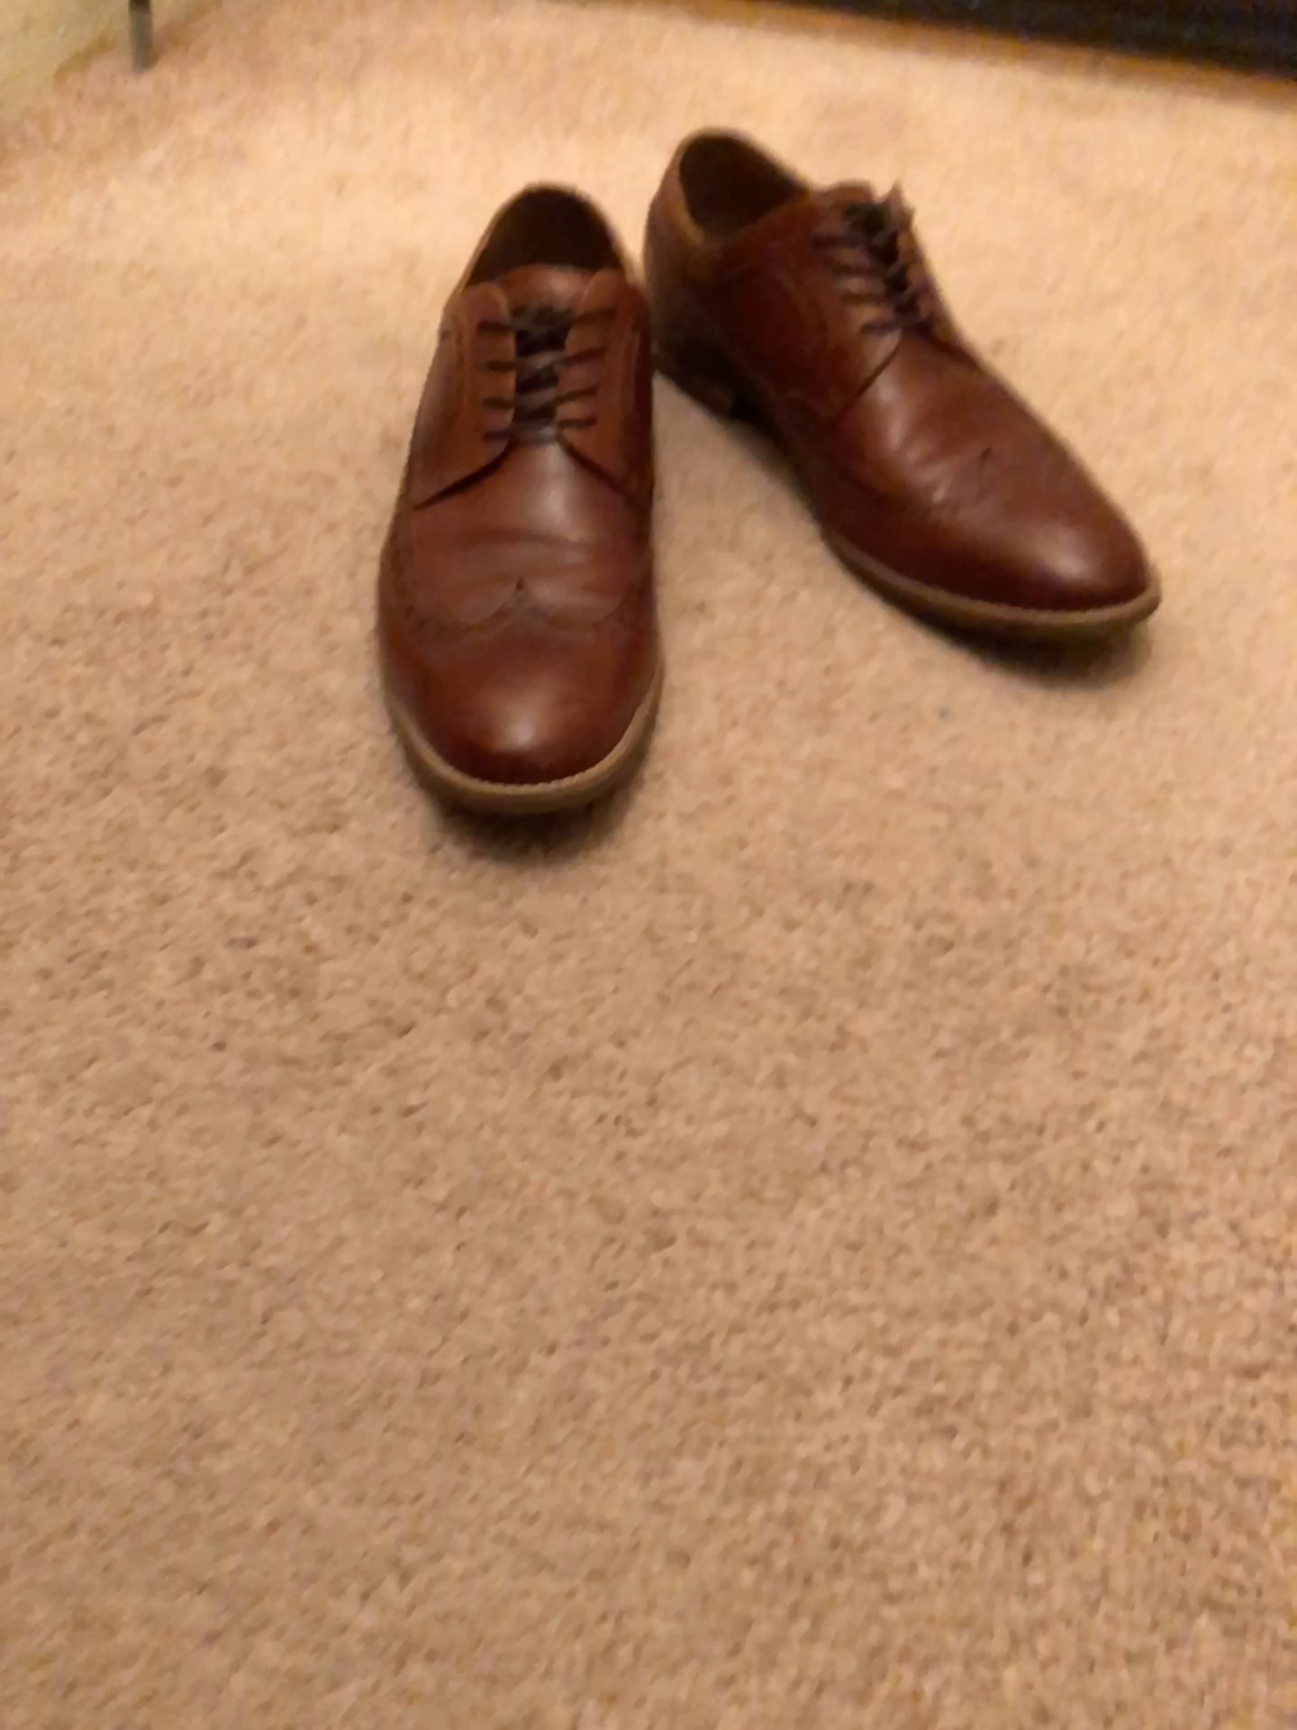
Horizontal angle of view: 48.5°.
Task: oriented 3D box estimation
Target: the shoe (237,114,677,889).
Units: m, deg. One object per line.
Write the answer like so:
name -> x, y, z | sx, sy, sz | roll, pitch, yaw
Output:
shoe -> -0.048, -0.148, 0.524 | 0.115, 0.114, 0.312 | 0, 49, 1

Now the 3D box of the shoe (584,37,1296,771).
shoe -> 0.098, -0.194, 0.554 | 0.115, 0.114, 0.312 | -22, 52, -17
